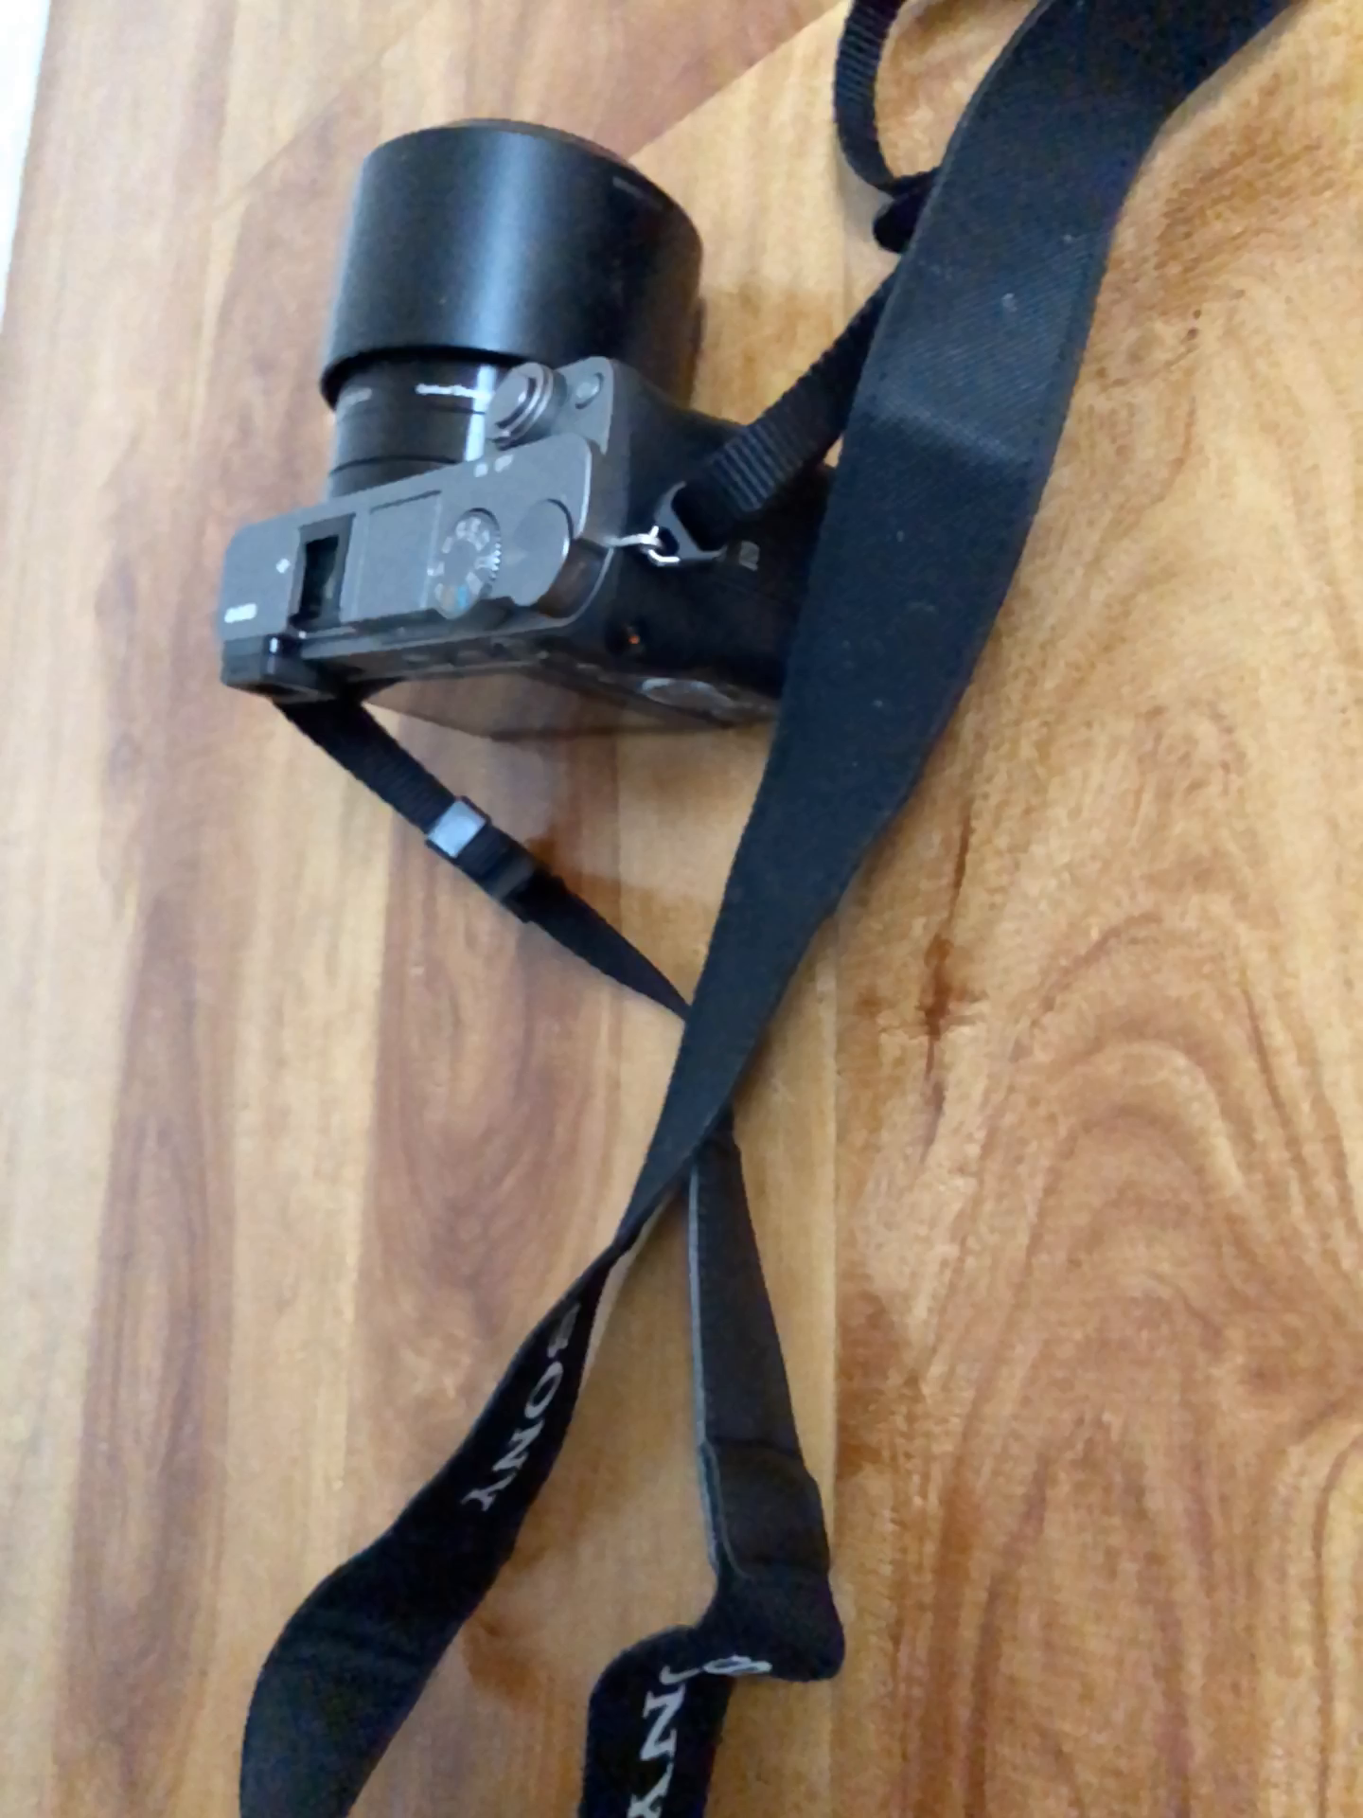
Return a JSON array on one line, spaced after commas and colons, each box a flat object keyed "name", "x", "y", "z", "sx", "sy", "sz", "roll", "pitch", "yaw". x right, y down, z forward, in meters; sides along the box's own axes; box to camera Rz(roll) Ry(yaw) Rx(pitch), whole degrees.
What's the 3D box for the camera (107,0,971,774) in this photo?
[{"name": "camera", "x": -0.034, "y": -0.089, "z": 0.290, "sx": 0.141, "sy": 0.080, "sz": 0.110, "roll": 5, "pitch": 84, "yaw": 49}]
